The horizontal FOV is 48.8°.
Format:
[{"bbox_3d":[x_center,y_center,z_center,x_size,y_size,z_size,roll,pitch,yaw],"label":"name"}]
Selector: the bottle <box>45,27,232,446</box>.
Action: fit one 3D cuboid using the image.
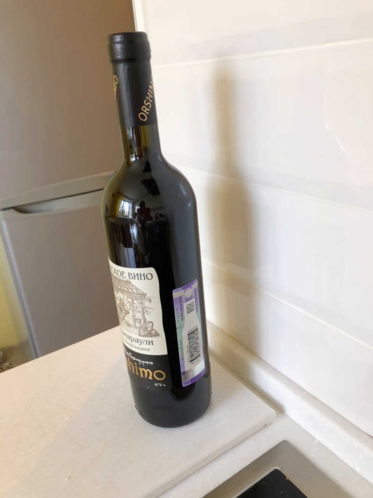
[{"bbox_3d":[-0.027,-0.002,0.326,0.080,0.298,0.080,-4,23,2],"label":"bottle"}]
